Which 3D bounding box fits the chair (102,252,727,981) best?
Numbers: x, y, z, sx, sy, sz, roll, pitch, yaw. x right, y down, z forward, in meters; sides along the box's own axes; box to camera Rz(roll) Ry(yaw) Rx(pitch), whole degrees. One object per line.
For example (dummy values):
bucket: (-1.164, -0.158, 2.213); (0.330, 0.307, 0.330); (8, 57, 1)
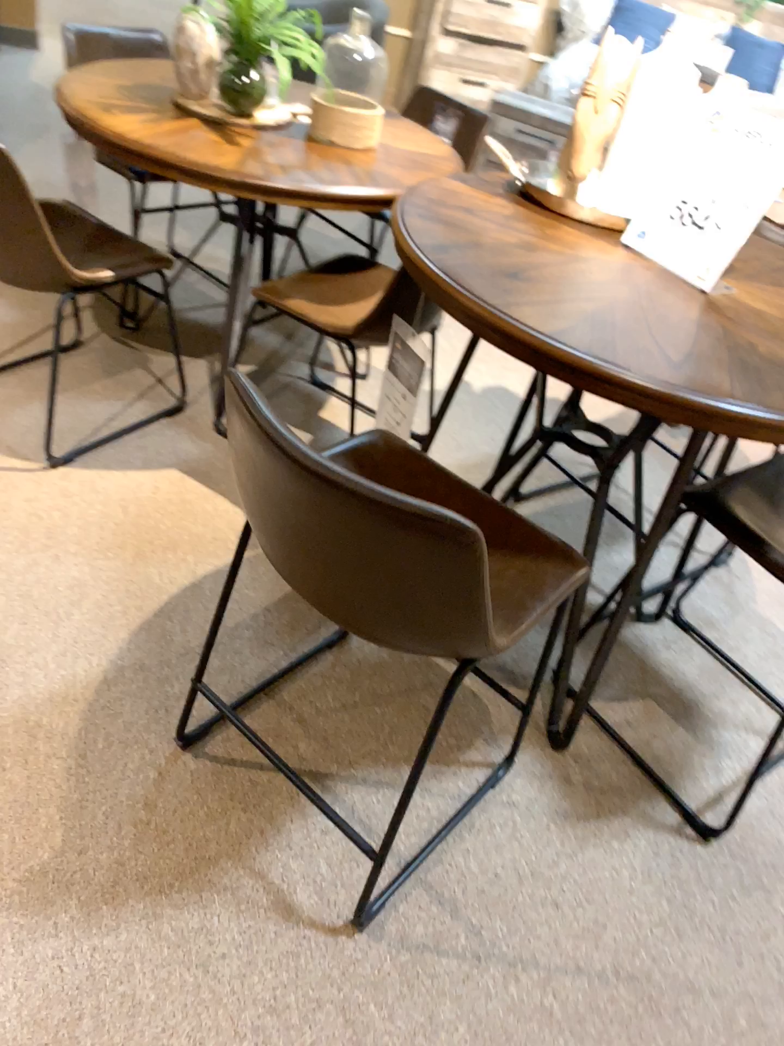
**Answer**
chair: (-0.026, 0.116, 1.292); (0.601, 0.806, 0.582); (36, 42, 25)
